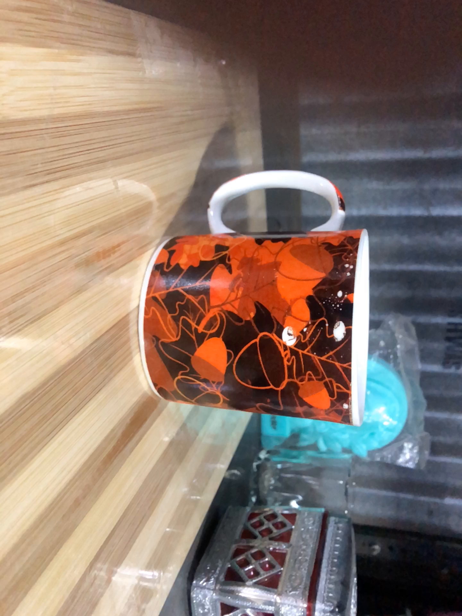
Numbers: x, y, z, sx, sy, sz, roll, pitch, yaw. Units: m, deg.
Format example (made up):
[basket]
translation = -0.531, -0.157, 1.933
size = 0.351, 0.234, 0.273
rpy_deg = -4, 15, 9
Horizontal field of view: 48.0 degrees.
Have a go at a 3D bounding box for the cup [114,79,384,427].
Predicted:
[cup]
translation = 0.017, -0.013, 0.206
size = 0.080, 0.080, 0.110
rpy_deg = 41, 53, -70
